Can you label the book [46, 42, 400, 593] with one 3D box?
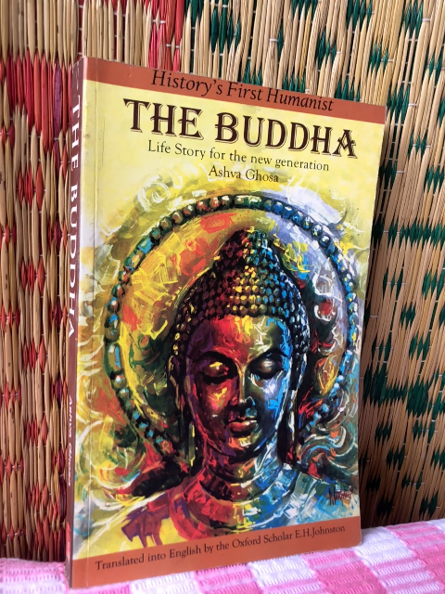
[{"bbox_3d":[0.002,0.012,0.220,0.146,0.207,0.030,1,3,-19],"label":"book"}]
